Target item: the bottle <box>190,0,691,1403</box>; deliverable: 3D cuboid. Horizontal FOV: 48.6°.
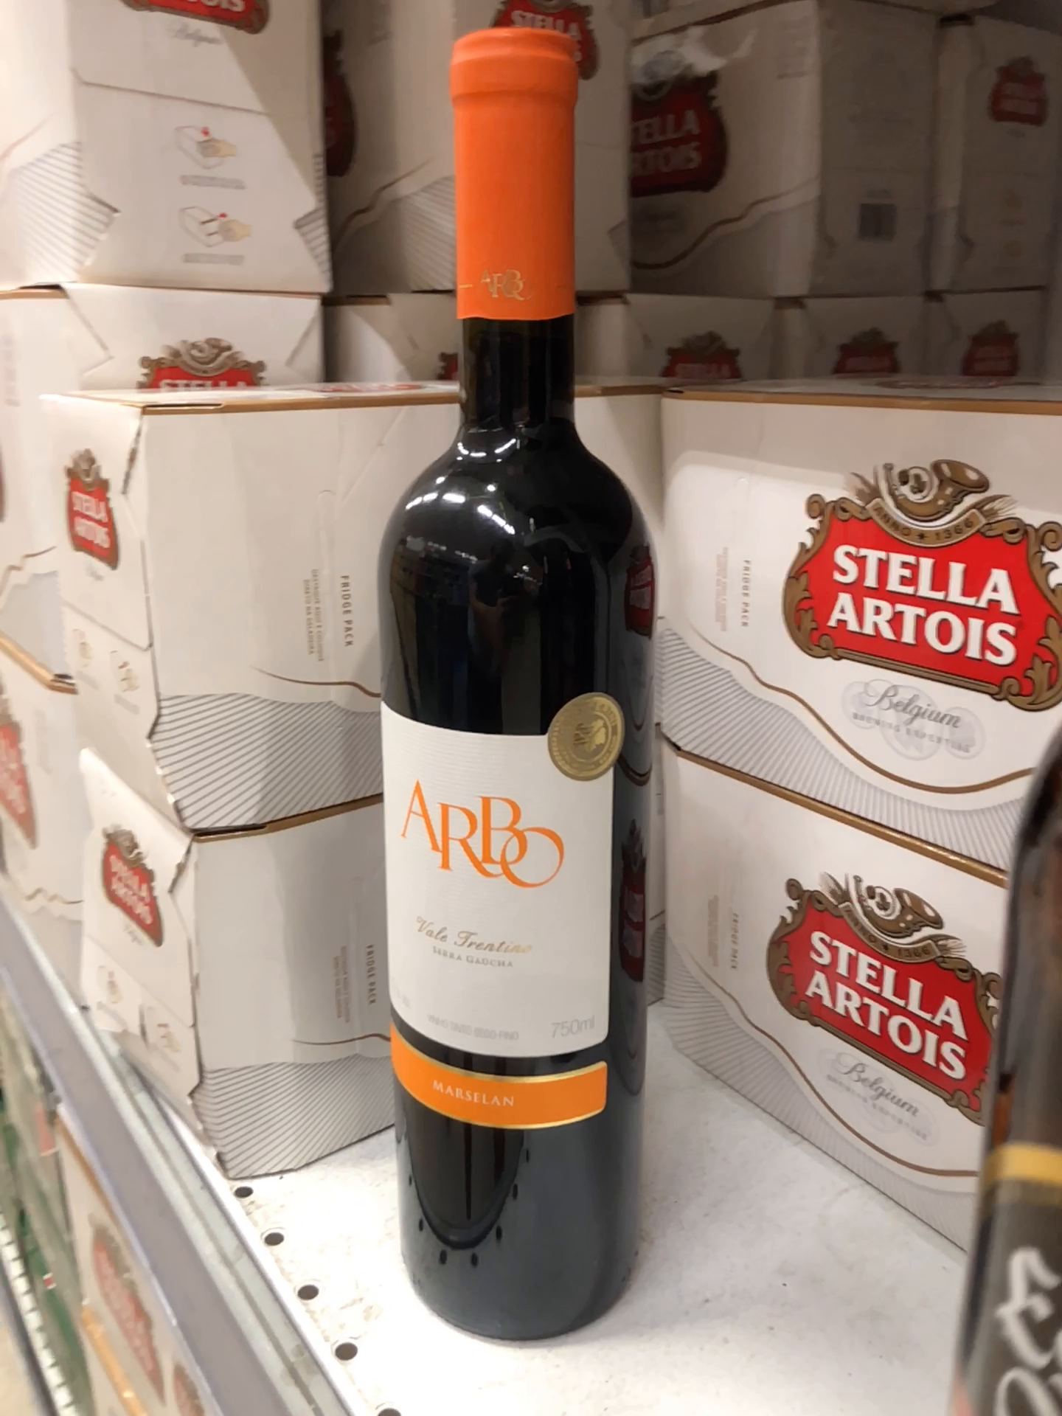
[{"bbox_3d":[-0.009,0.008,0.283,0.080,0.308,0.070,4,19,17],"label":"bottle"}]
